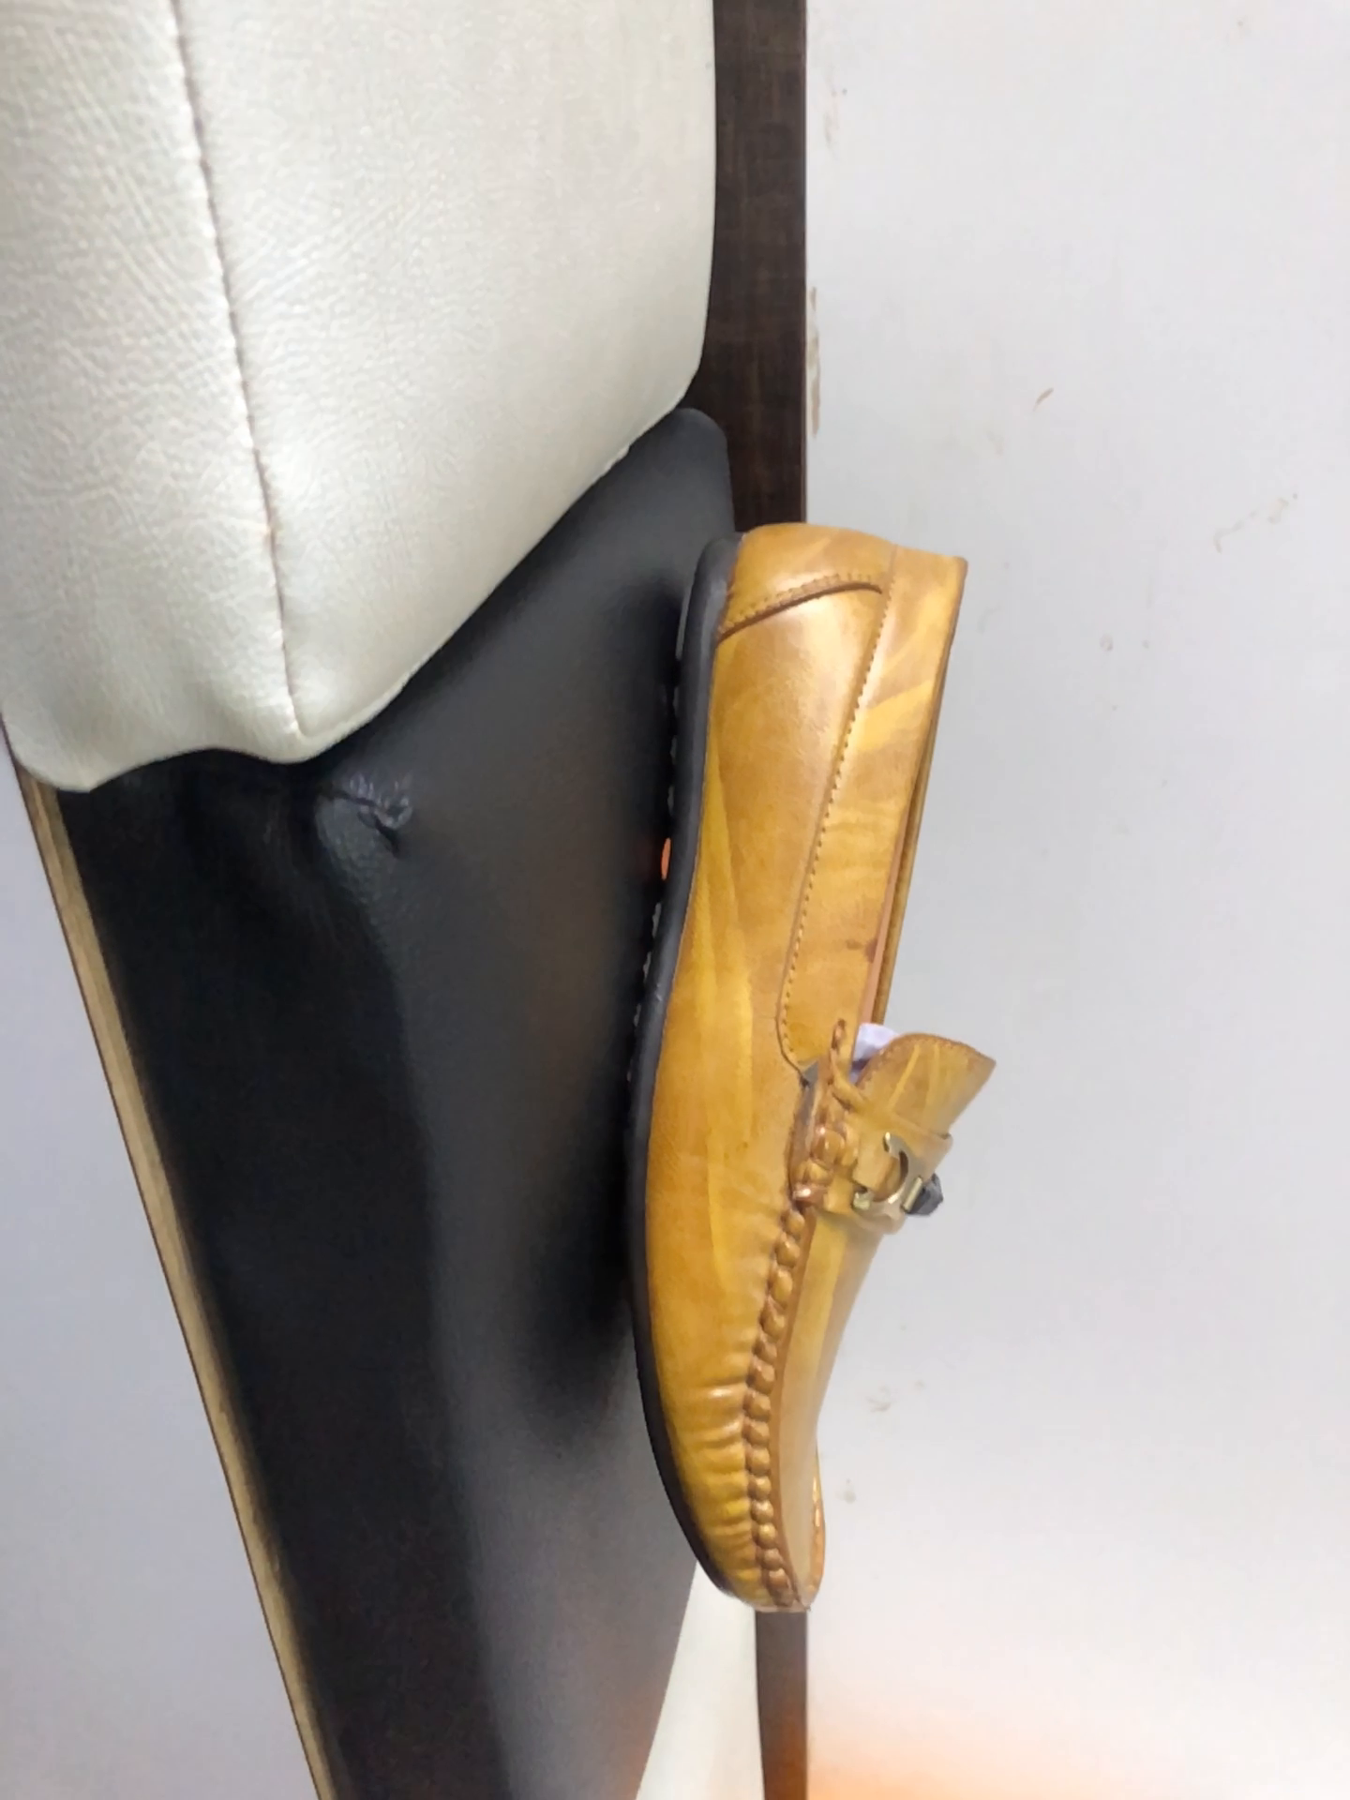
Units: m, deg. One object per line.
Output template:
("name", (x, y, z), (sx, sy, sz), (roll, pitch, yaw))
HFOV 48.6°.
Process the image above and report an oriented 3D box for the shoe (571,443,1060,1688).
("shoe", (0.048, 0.037, 0.417), (0.171, 0.090, 0.270), (25, 69, -78))
